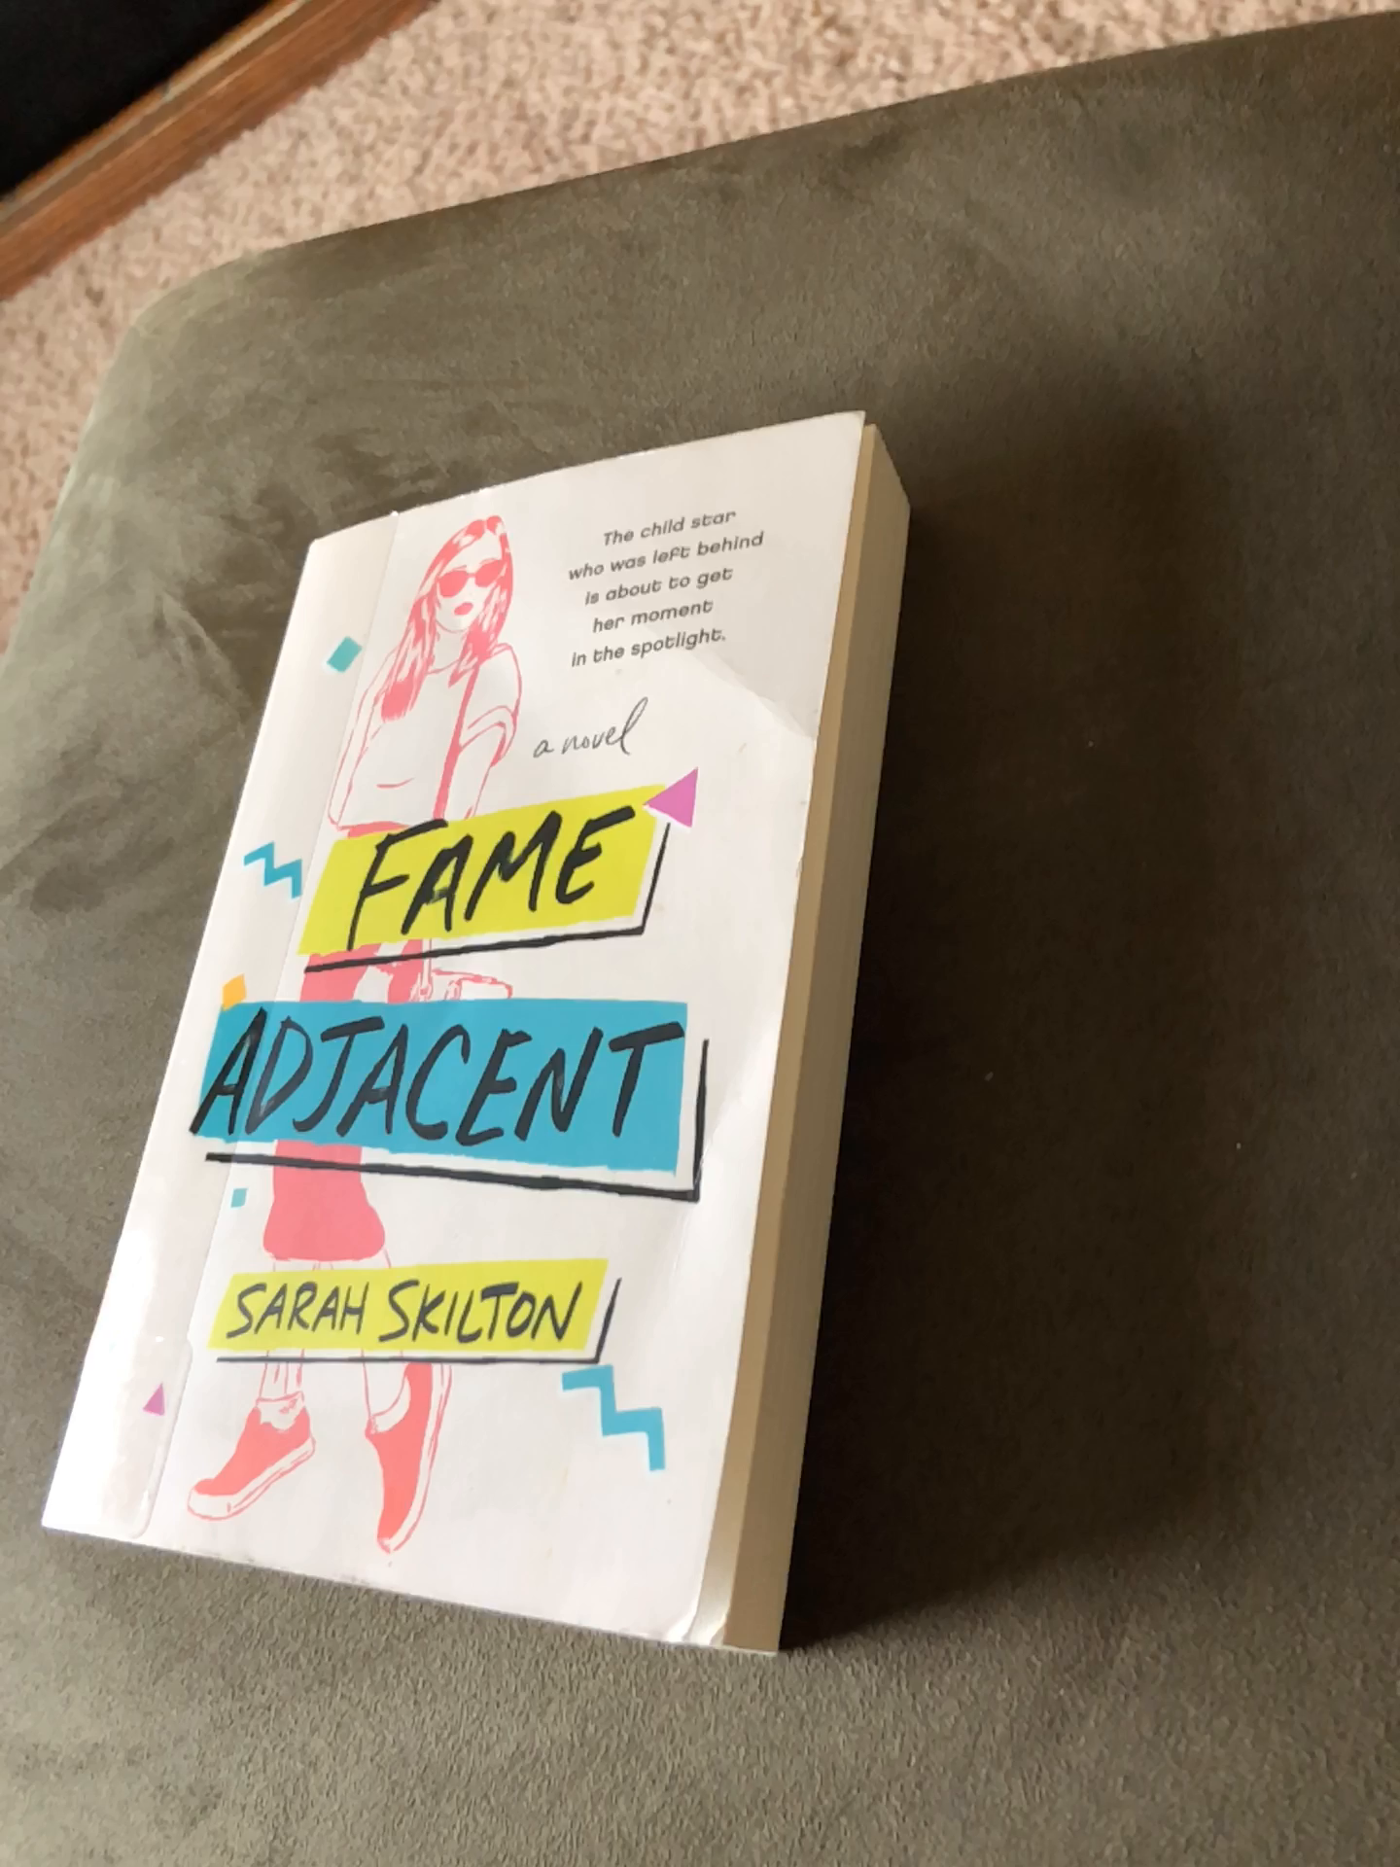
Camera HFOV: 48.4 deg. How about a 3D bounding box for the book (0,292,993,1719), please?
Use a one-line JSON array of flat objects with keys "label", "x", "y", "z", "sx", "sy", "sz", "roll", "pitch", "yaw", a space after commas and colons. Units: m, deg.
[{"label": "book", "x": -0.031, "y": 0.004, "z": 0.275, "sx": 0.140, "sy": 0.040, "sz": 0.220, "roll": -4, "pitch": 65, "yaw": 30}]
